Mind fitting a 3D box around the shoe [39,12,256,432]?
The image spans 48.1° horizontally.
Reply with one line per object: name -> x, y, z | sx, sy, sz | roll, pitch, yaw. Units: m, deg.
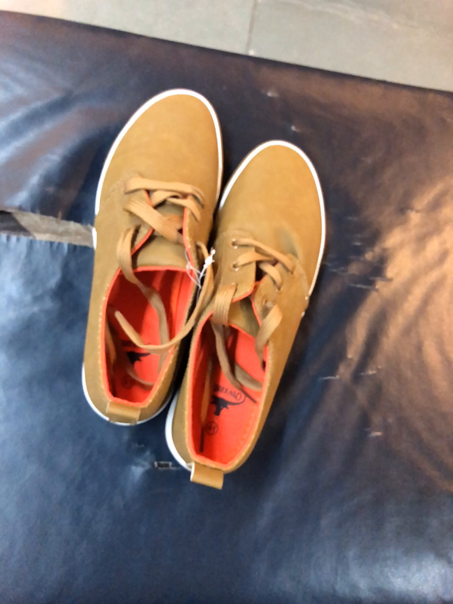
shoe -> -0.049, -0.049, 0.360 | 0.100, 0.097, 0.266 | 8, 74, -9

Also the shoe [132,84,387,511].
shoe -> 0.024, -0.006, 0.362 | 0.095, 0.091, 0.261 | 19, 72, -6
